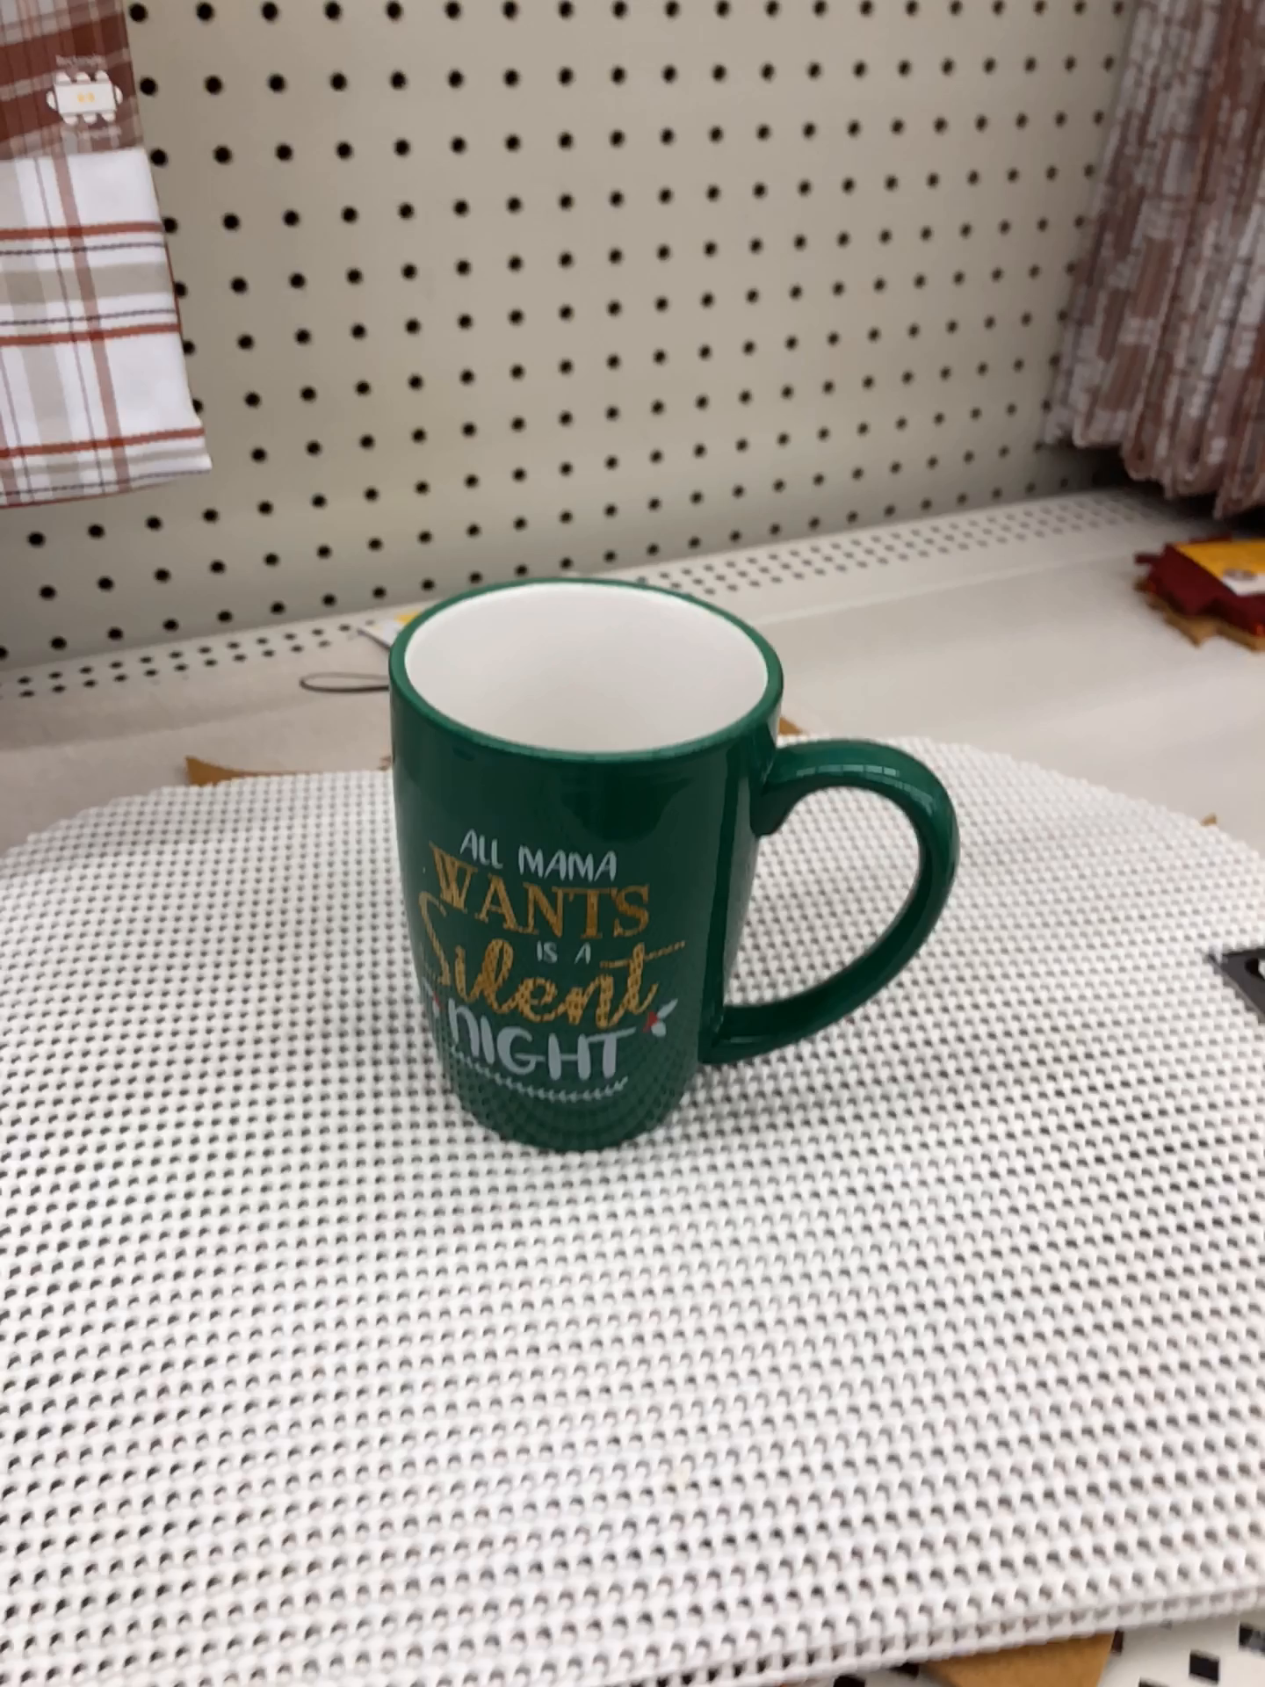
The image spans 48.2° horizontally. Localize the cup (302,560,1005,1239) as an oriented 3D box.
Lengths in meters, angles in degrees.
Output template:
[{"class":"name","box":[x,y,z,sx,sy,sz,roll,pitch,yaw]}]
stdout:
[{"class":"cup","box":[0.011,0.008,0.346,0.140,0.110,0.100,8,34,10]}]
